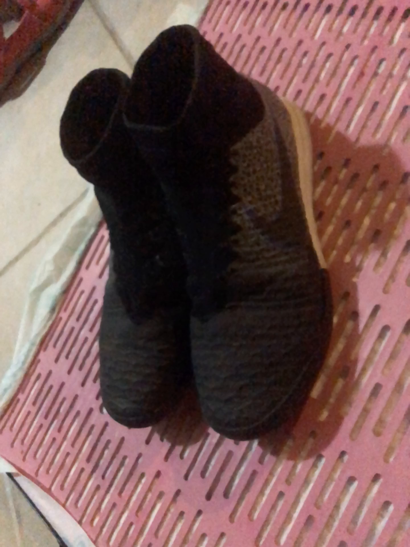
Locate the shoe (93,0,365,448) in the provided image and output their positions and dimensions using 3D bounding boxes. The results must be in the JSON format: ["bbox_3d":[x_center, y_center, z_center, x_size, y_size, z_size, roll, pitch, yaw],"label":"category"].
[{"bbox_3d":[0.028,-0.027,0.309,0.100,0.149,0.260,-9,69,30],"label":"shoe"}]

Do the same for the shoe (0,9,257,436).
[{"bbox_3d":[-0.050,-0.024,0.358,0.100,0.149,0.270,-2,73,32],"label":"shoe"}]
